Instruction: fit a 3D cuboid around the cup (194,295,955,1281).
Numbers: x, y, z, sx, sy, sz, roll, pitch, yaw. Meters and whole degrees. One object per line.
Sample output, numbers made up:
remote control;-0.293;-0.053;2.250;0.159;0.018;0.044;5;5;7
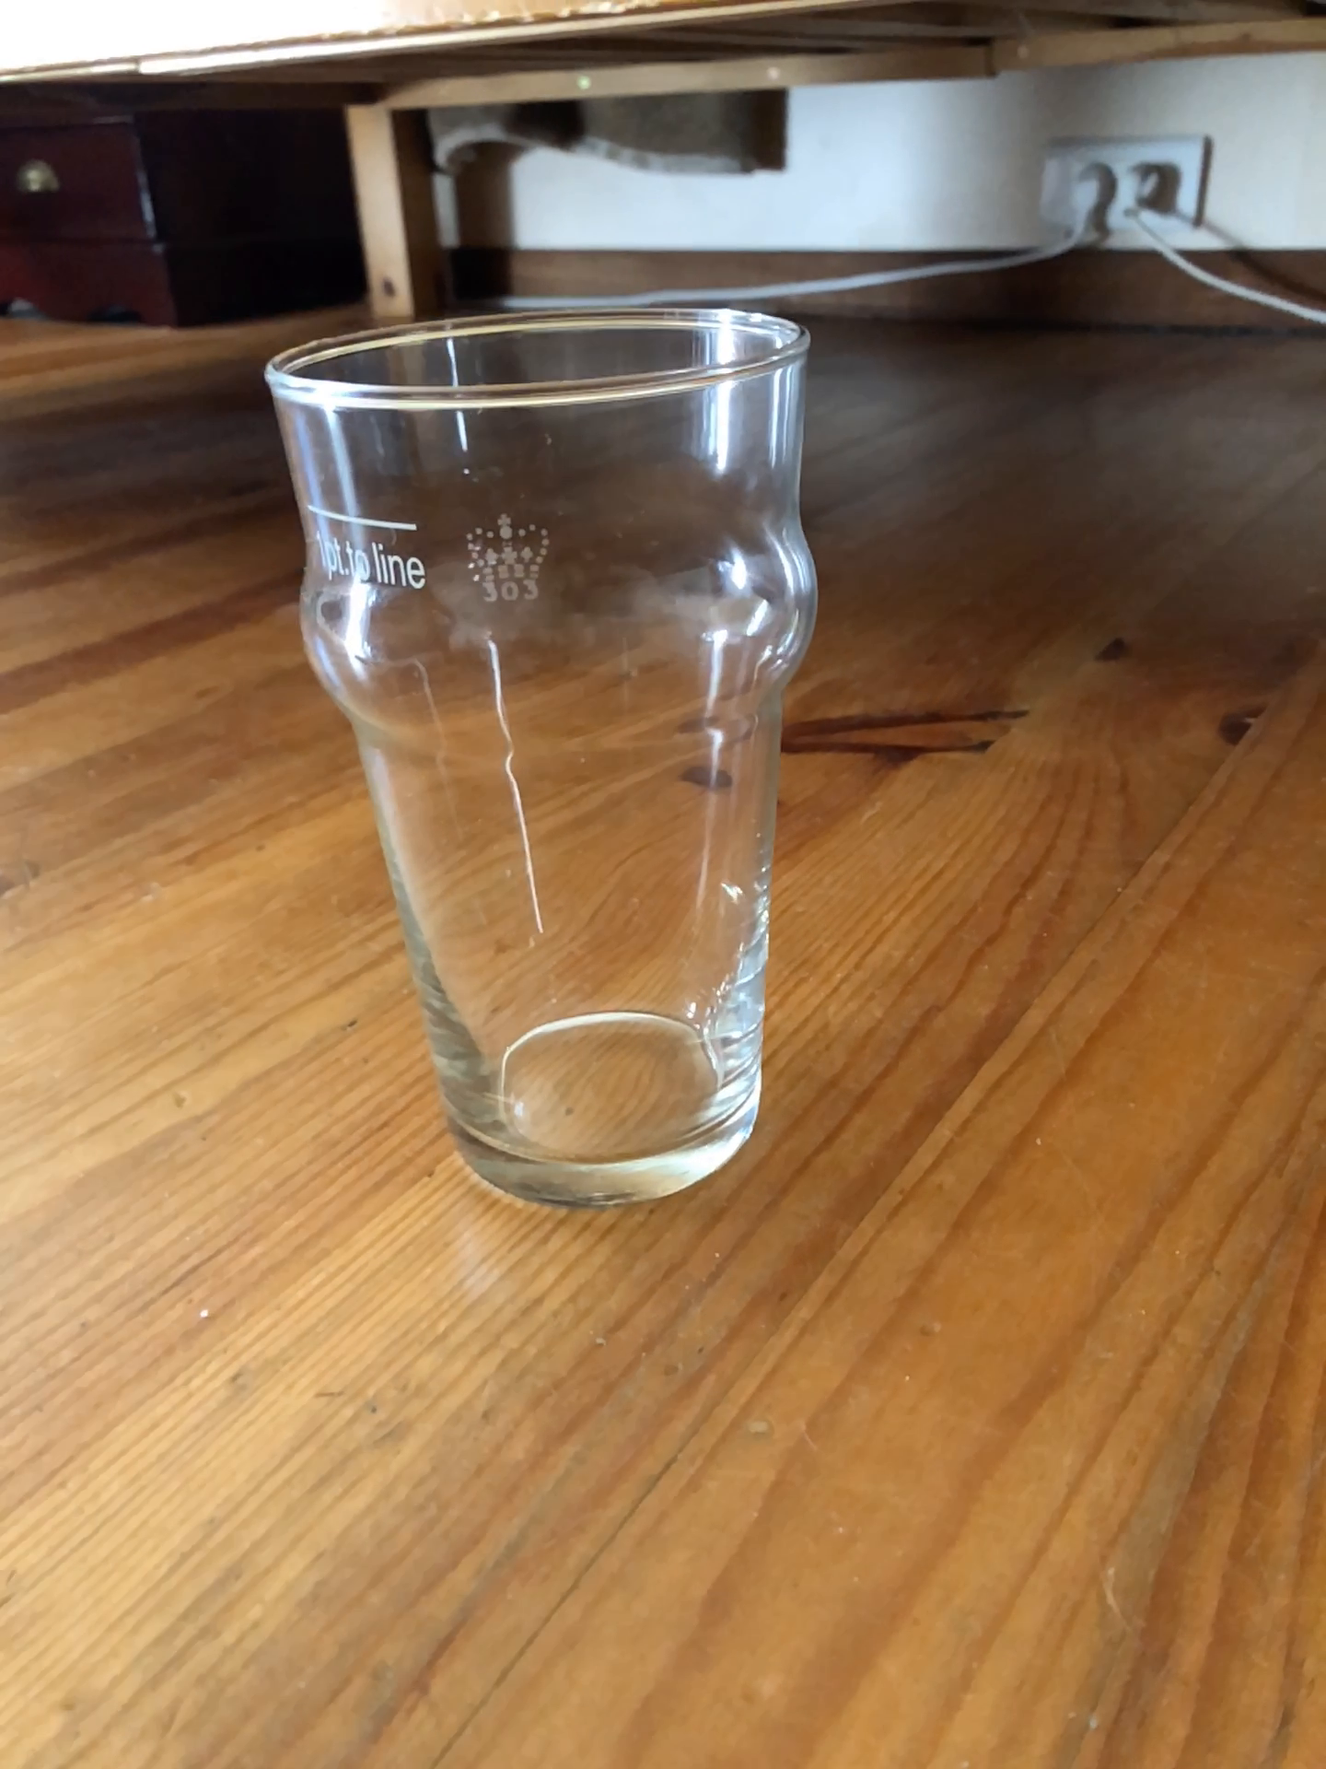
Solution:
cup;-0.005;-0.024;0.280;0.094;0.151;0.092;-3;30;2
